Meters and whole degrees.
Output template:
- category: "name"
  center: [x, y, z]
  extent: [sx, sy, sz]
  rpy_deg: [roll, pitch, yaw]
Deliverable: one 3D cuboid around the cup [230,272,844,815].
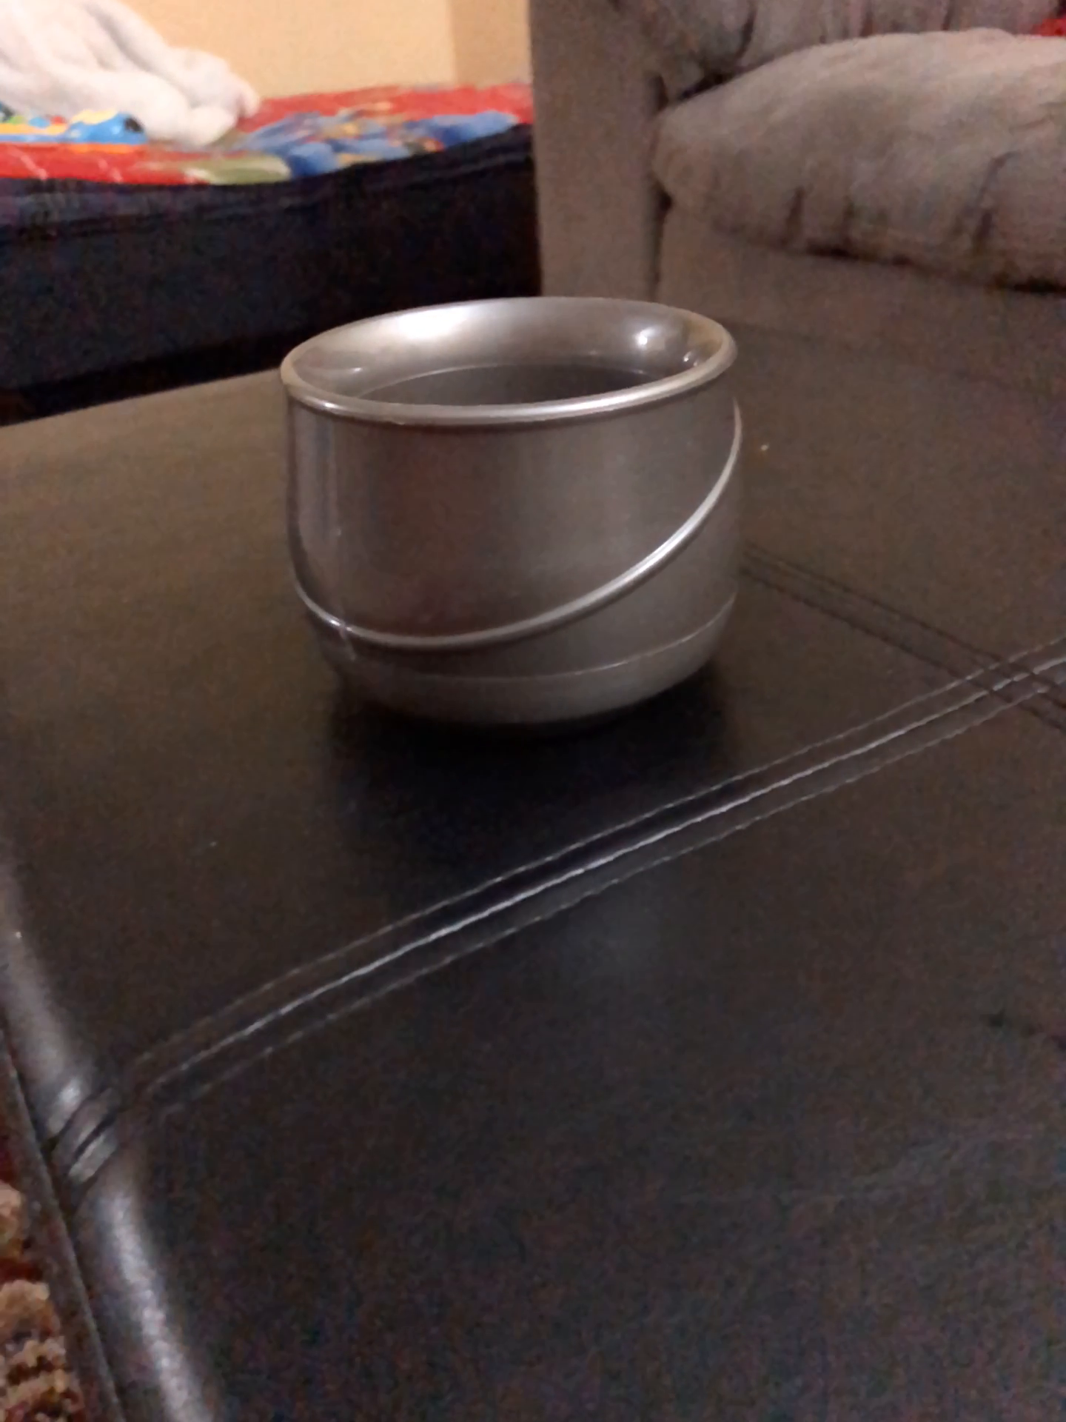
- category: "cup"
  center: [-0.004, -0.039, 0.233]
  extent: [0.090, 0.066, 0.084]
  rpy_deg: [-3, 30, 2]
